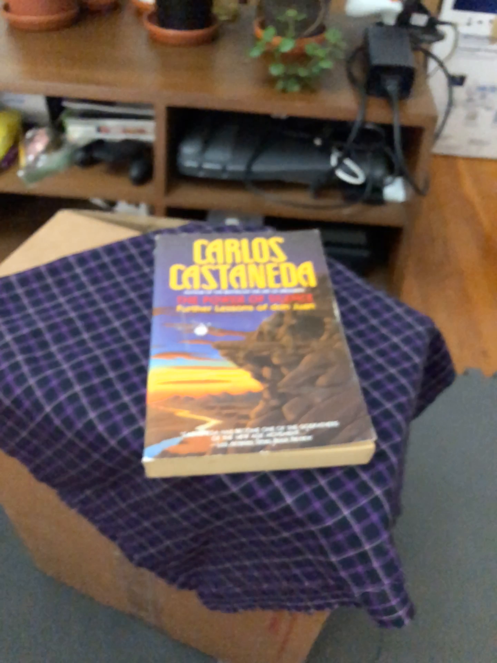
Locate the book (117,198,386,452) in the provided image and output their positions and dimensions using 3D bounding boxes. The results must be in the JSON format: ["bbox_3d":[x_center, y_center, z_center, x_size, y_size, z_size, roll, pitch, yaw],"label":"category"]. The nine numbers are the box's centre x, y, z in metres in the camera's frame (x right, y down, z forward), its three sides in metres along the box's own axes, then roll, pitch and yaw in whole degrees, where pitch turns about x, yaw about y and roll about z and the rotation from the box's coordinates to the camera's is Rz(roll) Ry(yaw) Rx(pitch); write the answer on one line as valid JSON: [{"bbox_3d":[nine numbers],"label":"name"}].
[{"bbox_3d":[-0.005,-0.021,0.394,0.150,0.020,0.221,-1,48,-4],"label":"book"}]
